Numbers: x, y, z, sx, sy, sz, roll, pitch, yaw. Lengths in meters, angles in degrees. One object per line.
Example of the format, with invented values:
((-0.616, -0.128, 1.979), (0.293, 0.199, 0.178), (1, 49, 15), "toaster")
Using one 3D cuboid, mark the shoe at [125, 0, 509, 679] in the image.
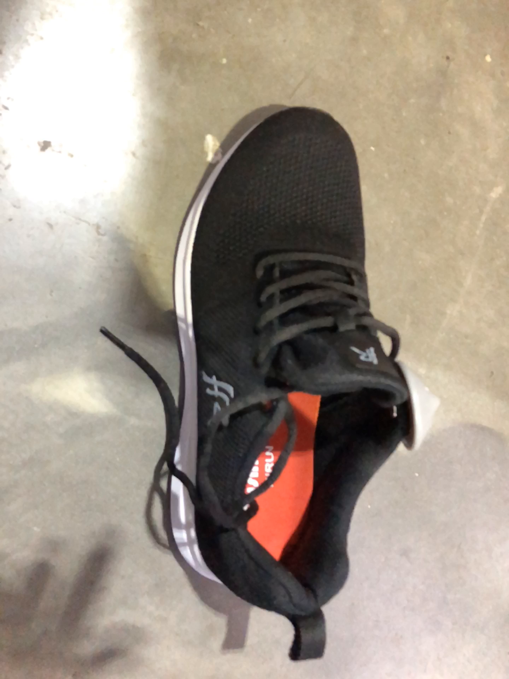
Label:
((0.033, 0.007, 0.269), (0.130, 0.120, 0.280), (10, 85, -21), "shoe")
